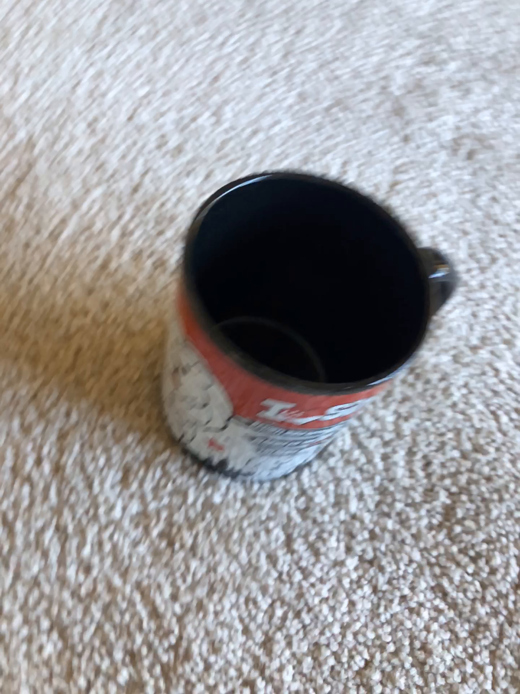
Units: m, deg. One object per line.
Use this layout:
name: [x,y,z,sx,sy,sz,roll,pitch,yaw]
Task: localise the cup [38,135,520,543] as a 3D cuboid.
cup: [0.002,-0.003,0.212,0.130,0.090,0.090,-13,66,-19]
